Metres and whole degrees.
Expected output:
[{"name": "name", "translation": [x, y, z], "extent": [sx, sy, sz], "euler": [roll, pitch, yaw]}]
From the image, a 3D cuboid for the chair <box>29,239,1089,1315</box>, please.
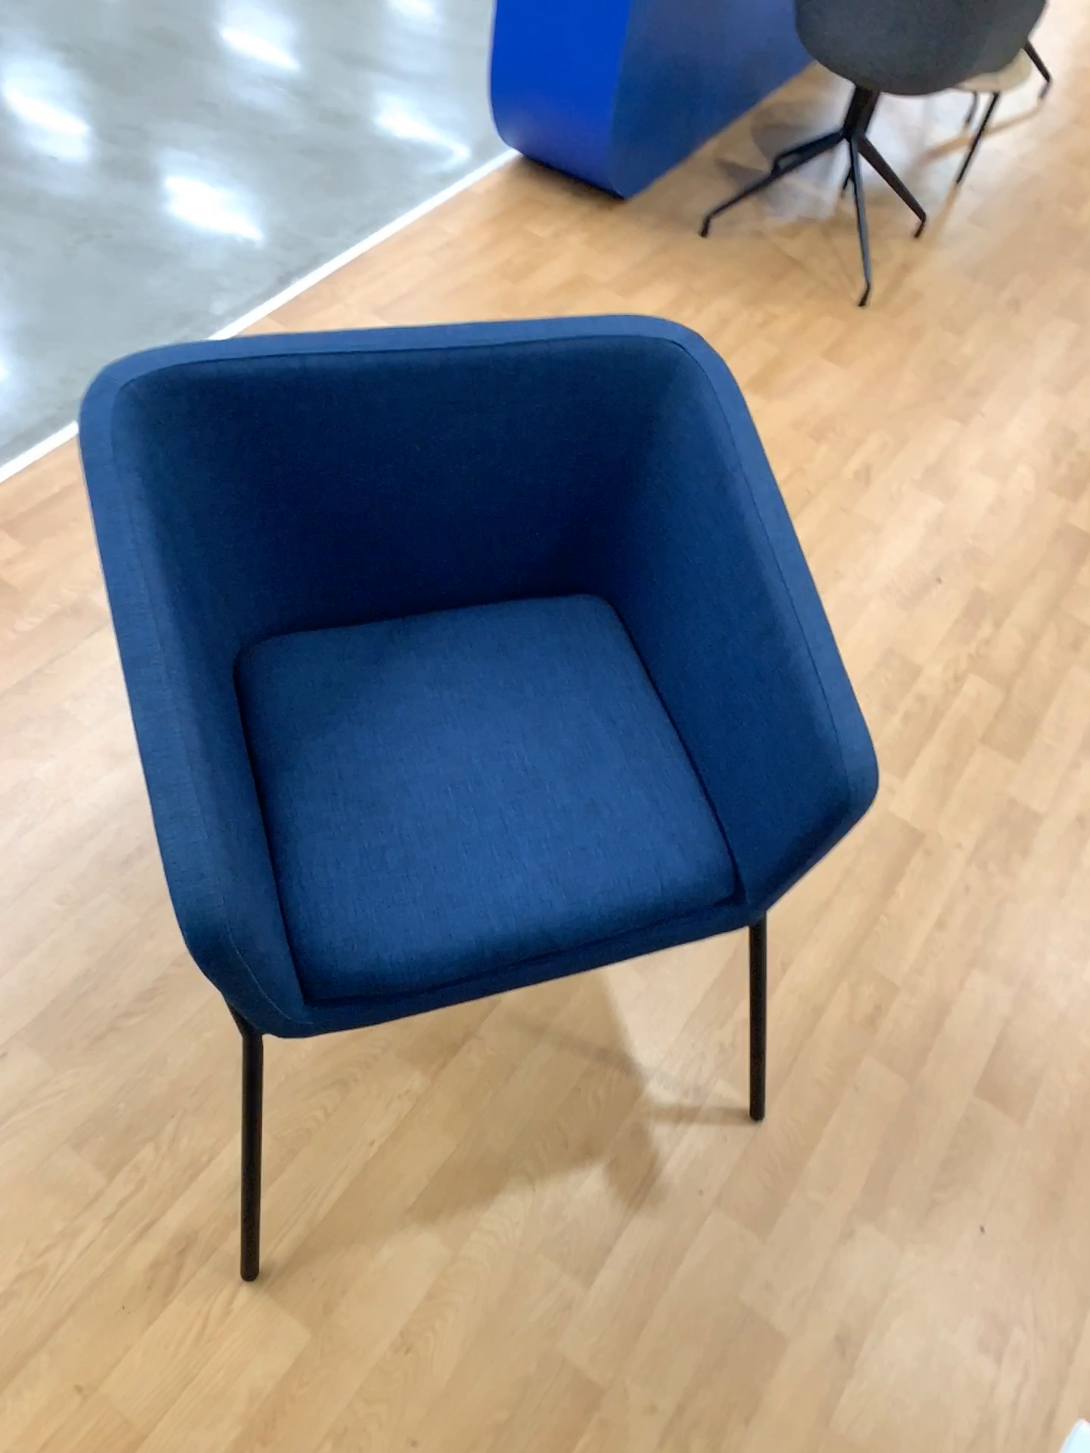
[{"name": "chair", "translation": [-0.069, 0.029, 1.146], "extent": [0.701, 0.685, 0.754], "euler": [-9, 55, -18]}]
